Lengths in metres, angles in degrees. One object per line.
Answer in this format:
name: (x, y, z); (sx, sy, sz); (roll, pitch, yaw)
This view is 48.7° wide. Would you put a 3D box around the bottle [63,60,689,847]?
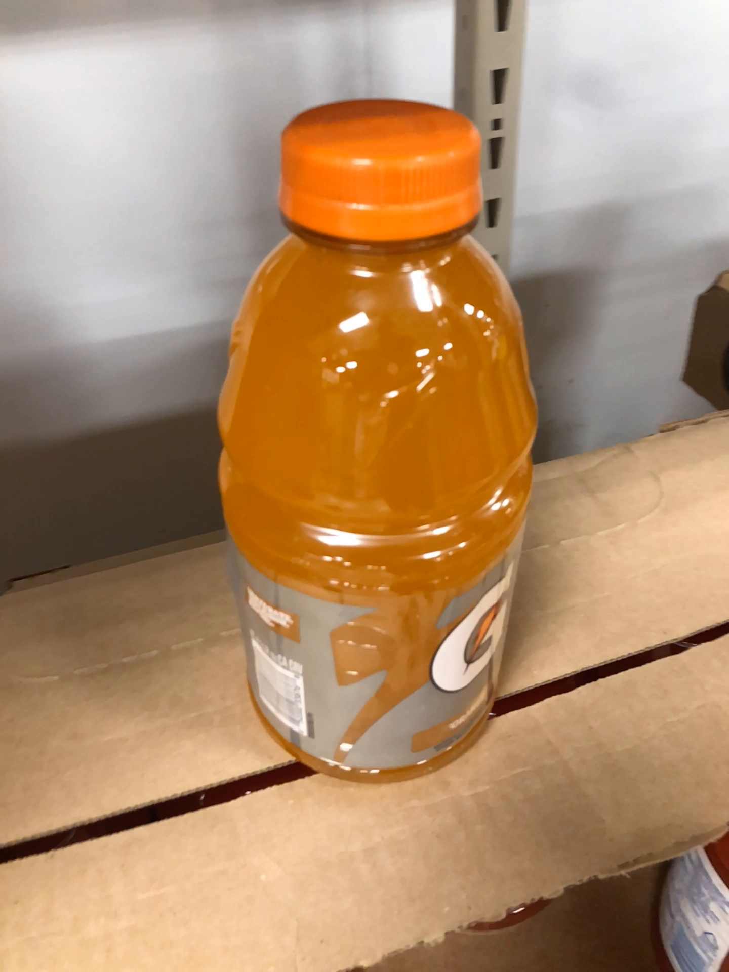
bottle: (0.006, -0.008, 0.230); (0.100, 0.180, 0.092); (-2, 38, 1)
